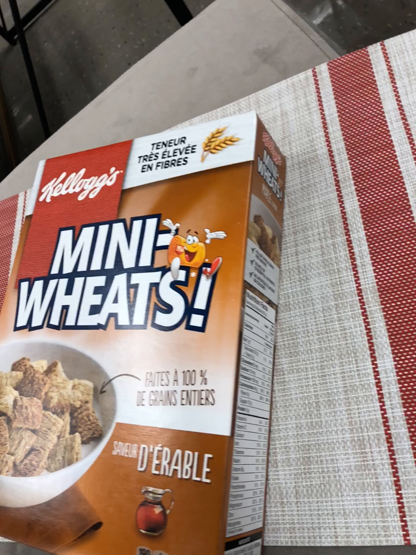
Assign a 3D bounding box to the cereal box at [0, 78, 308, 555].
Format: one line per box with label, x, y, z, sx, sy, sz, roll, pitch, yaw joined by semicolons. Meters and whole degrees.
cereal box;-0.050;0.027;0.312;0.211;0.060;0.280;-4;70;29
